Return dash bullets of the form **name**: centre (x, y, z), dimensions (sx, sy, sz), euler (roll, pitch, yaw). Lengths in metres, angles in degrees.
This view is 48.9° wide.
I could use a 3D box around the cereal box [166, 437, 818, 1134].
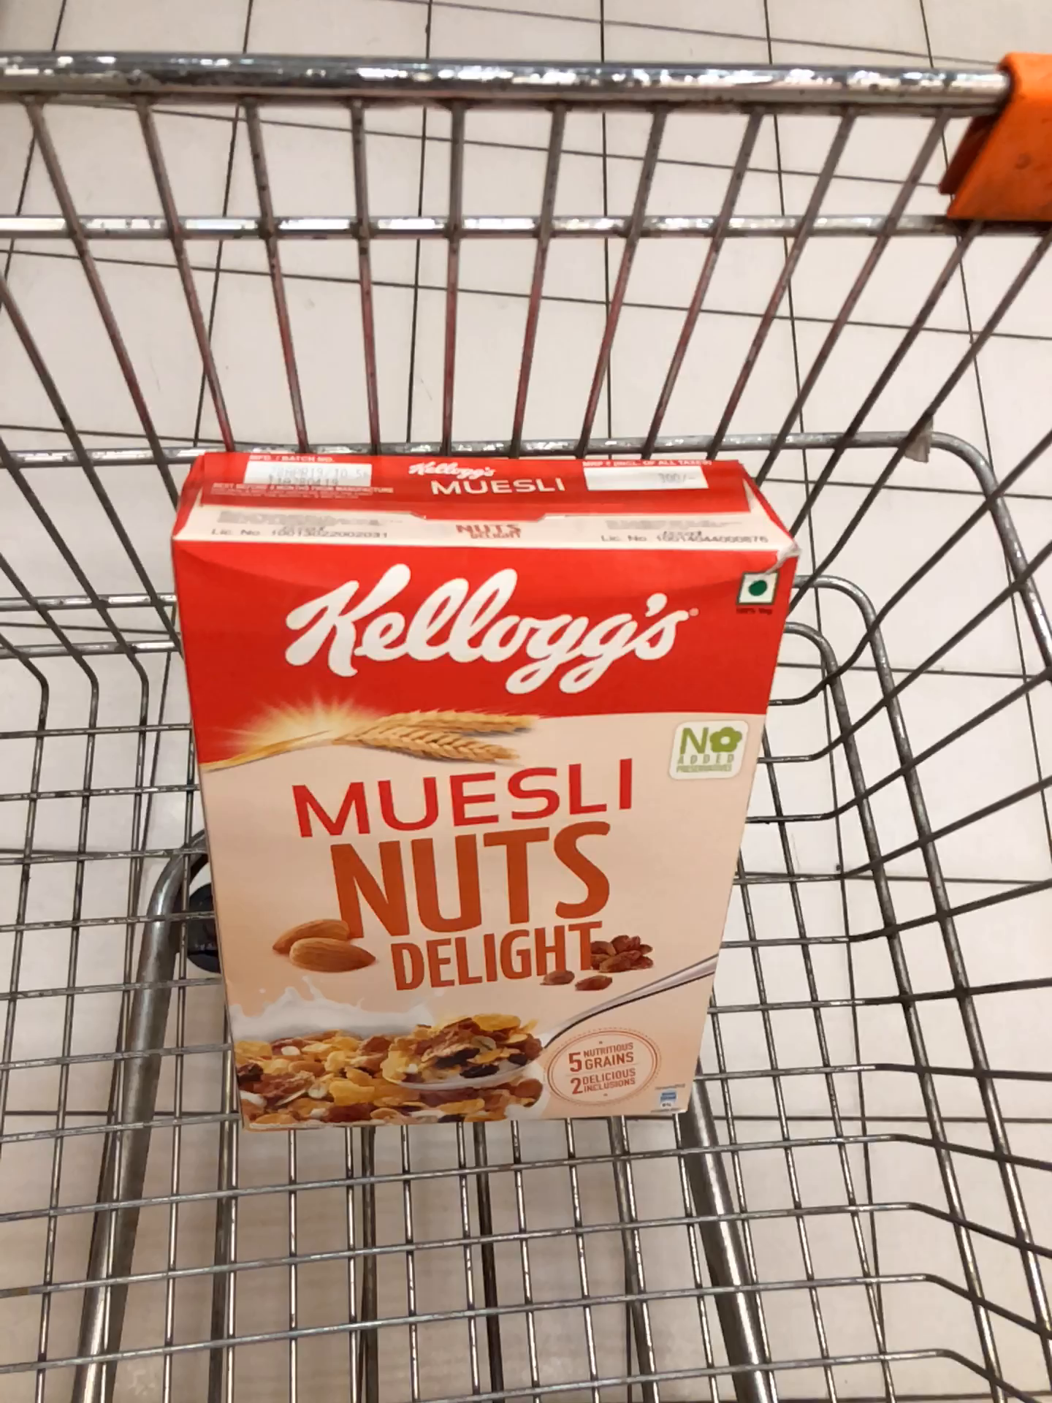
- **cereal box**: centre (-0.016, 0.040, 0.414), dimensions (0.180, 0.249, 0.070), euler (0, 32, -6)
